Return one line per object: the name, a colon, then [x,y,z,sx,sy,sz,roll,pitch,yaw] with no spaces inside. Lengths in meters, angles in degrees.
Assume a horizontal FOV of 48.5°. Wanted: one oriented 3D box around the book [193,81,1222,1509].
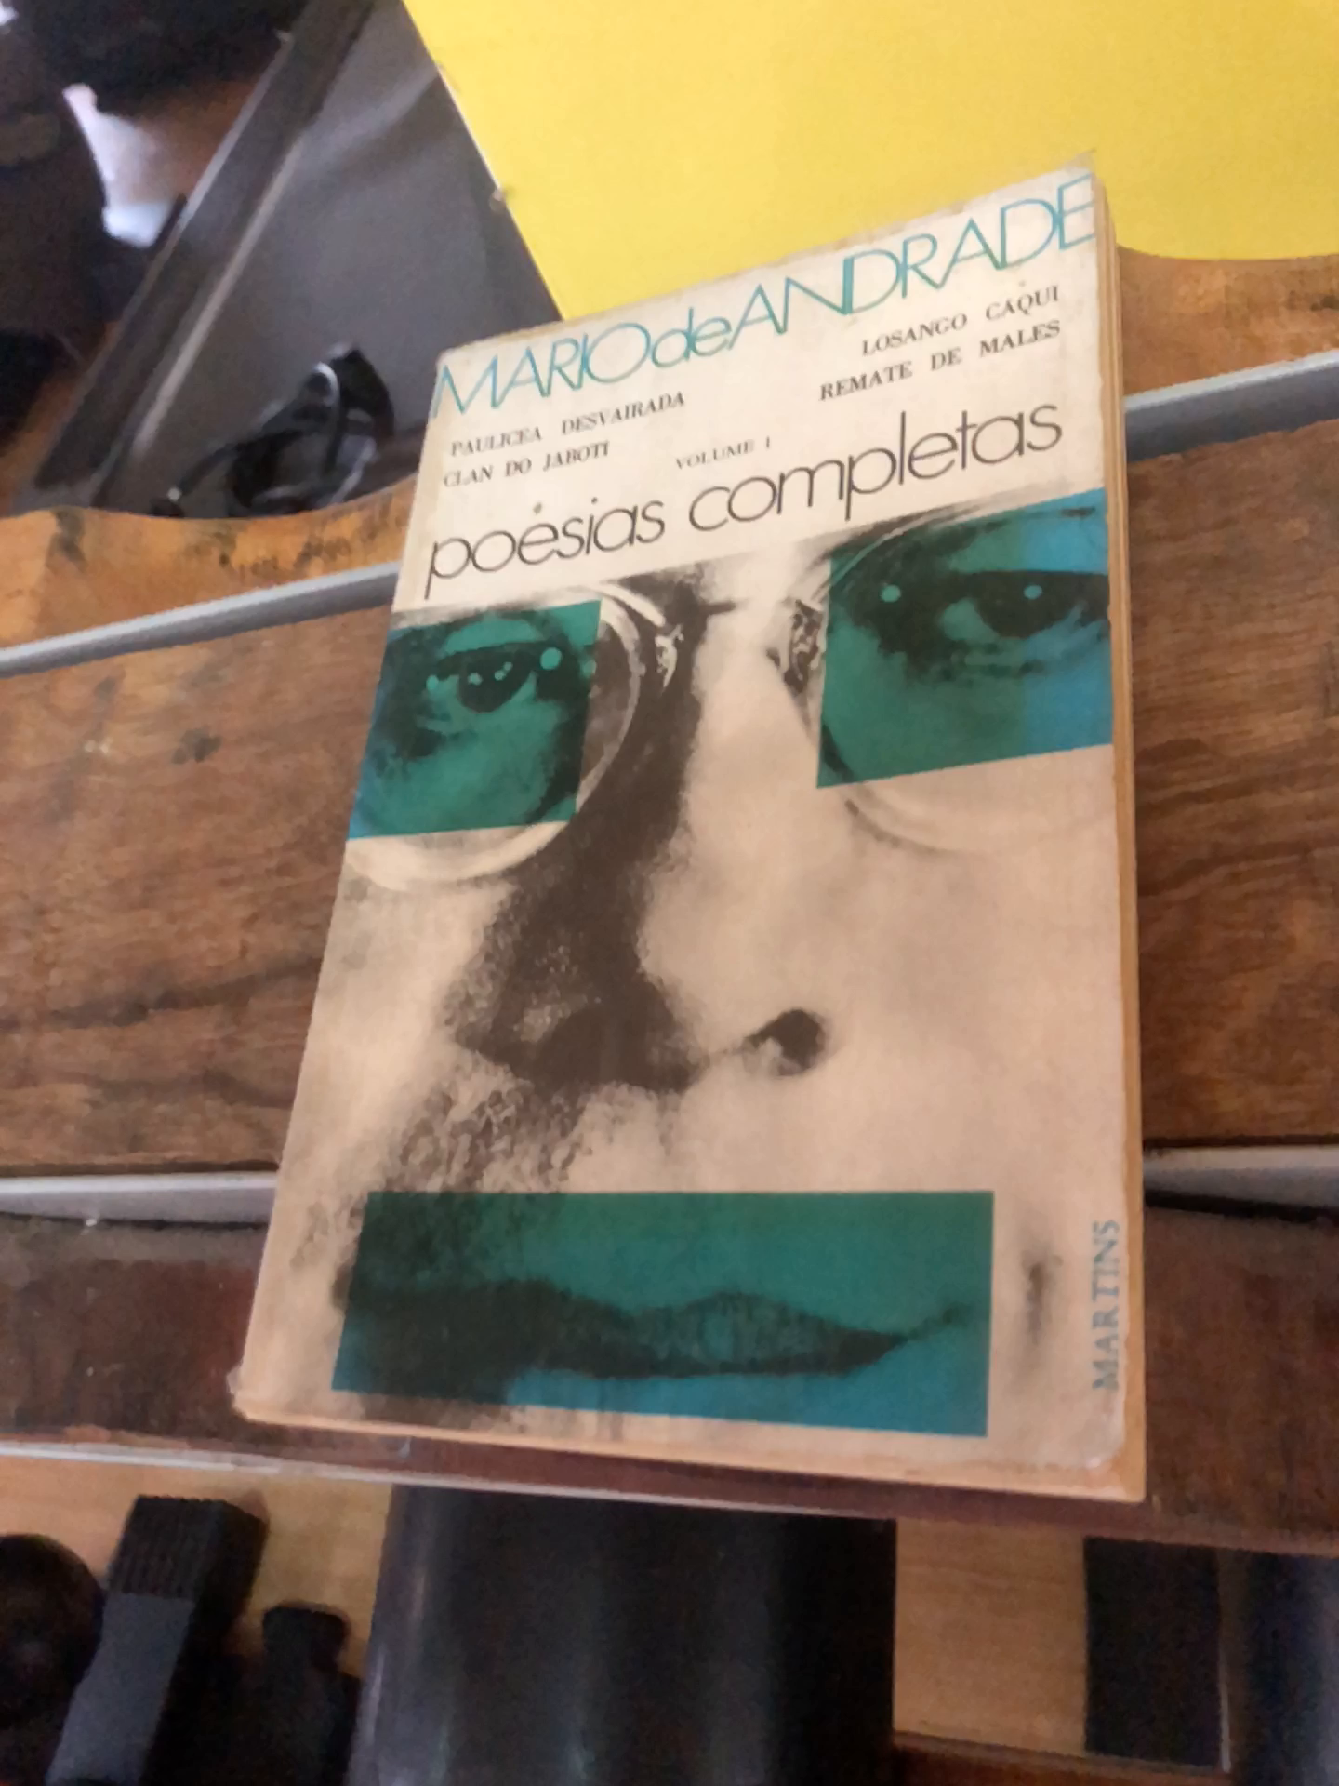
book: [0.007,-0.023,0.235,0.140,0.020,0.210,-5,66,25]
